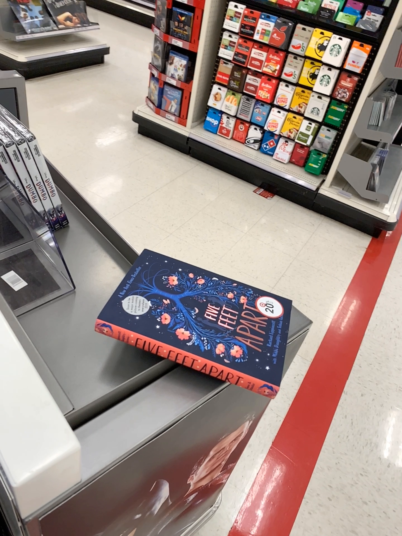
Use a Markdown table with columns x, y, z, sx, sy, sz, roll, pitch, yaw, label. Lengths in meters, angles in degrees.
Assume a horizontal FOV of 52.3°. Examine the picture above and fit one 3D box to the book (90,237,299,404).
| x | y | z | sx | sy | sz | roll | pitch | yaw | label |
| --- | --- | --- | --- | --- | --- | --- | --- | --- | --- |
| 0.003 | 0.053 | 0.497 | 0.220 | 0.028 | 0.151 | 20 | 42 | 3 | book |
